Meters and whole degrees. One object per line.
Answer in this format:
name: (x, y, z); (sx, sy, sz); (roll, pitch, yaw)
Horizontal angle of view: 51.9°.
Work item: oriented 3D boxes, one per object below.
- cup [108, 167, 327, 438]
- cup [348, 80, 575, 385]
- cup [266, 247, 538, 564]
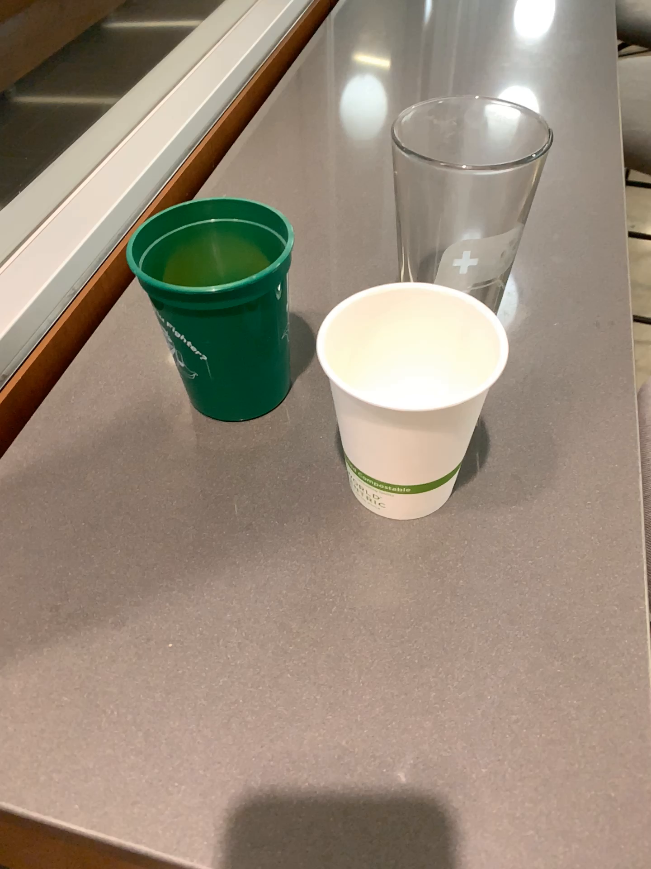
cup: (-0.062, -0.080, 0.408); (0.090, 0.109, 0.090); (-2, 48, 3)
cup: (0.075, -0.122, 0.417); (0.090, 0.139, 0.090); (-2, 48, 3)
cup: (0.036, -0.015, 0.351); (0.090, 0.109, 0.090); (-2, 48, 3)
